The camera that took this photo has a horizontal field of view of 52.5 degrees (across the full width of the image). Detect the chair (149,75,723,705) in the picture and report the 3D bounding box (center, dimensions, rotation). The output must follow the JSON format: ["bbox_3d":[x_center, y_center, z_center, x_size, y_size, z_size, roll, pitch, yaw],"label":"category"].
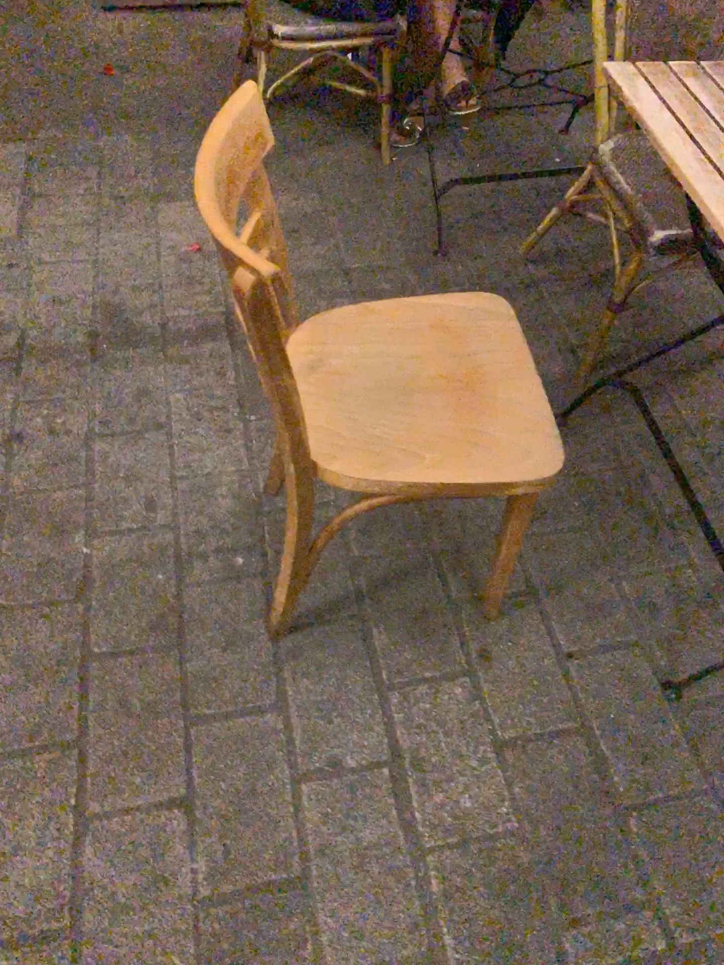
[{"bbox_3d":[0.036,-0.095,1.108,0.540,0.763,0.515,-5,51,-7],"label":"chair"}]
